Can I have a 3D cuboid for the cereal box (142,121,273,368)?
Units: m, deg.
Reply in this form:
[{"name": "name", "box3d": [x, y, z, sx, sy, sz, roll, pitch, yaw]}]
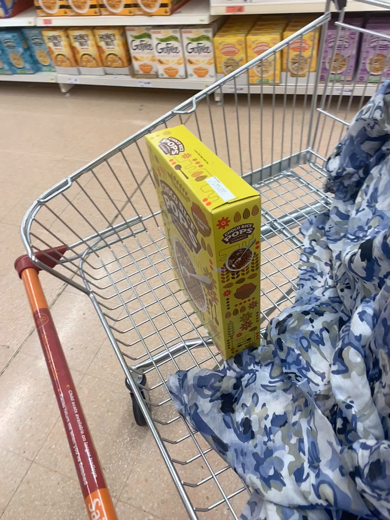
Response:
[{"name": "cereal box", "box3d": [0.014, -0.015, 0.539, 0.060, 0.267, 0.202, -22, 47, -16]}]
